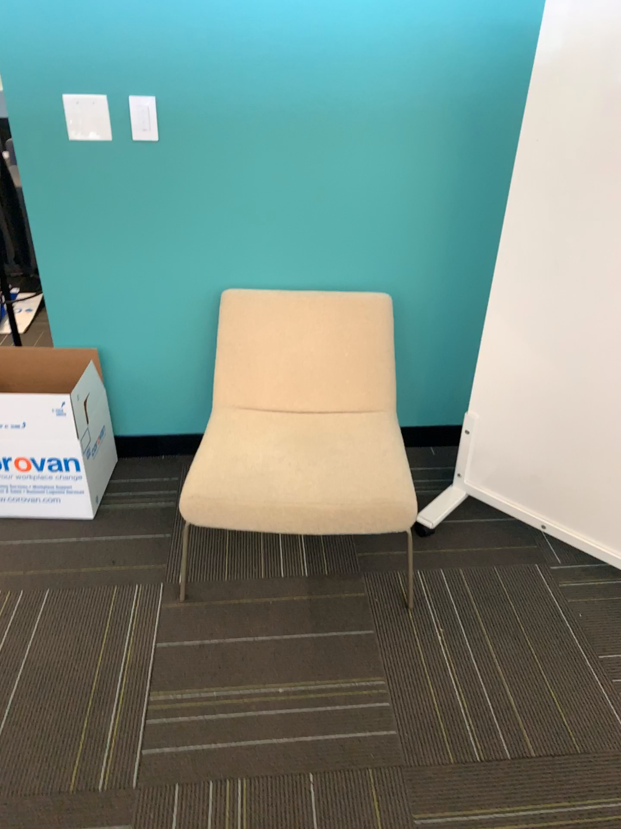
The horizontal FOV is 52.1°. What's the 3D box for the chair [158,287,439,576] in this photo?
[{"bbox_3d":[-0.037,0.016,1.954,0.660,0.567,0.734,1,31,-1],"label":"chair"}]
